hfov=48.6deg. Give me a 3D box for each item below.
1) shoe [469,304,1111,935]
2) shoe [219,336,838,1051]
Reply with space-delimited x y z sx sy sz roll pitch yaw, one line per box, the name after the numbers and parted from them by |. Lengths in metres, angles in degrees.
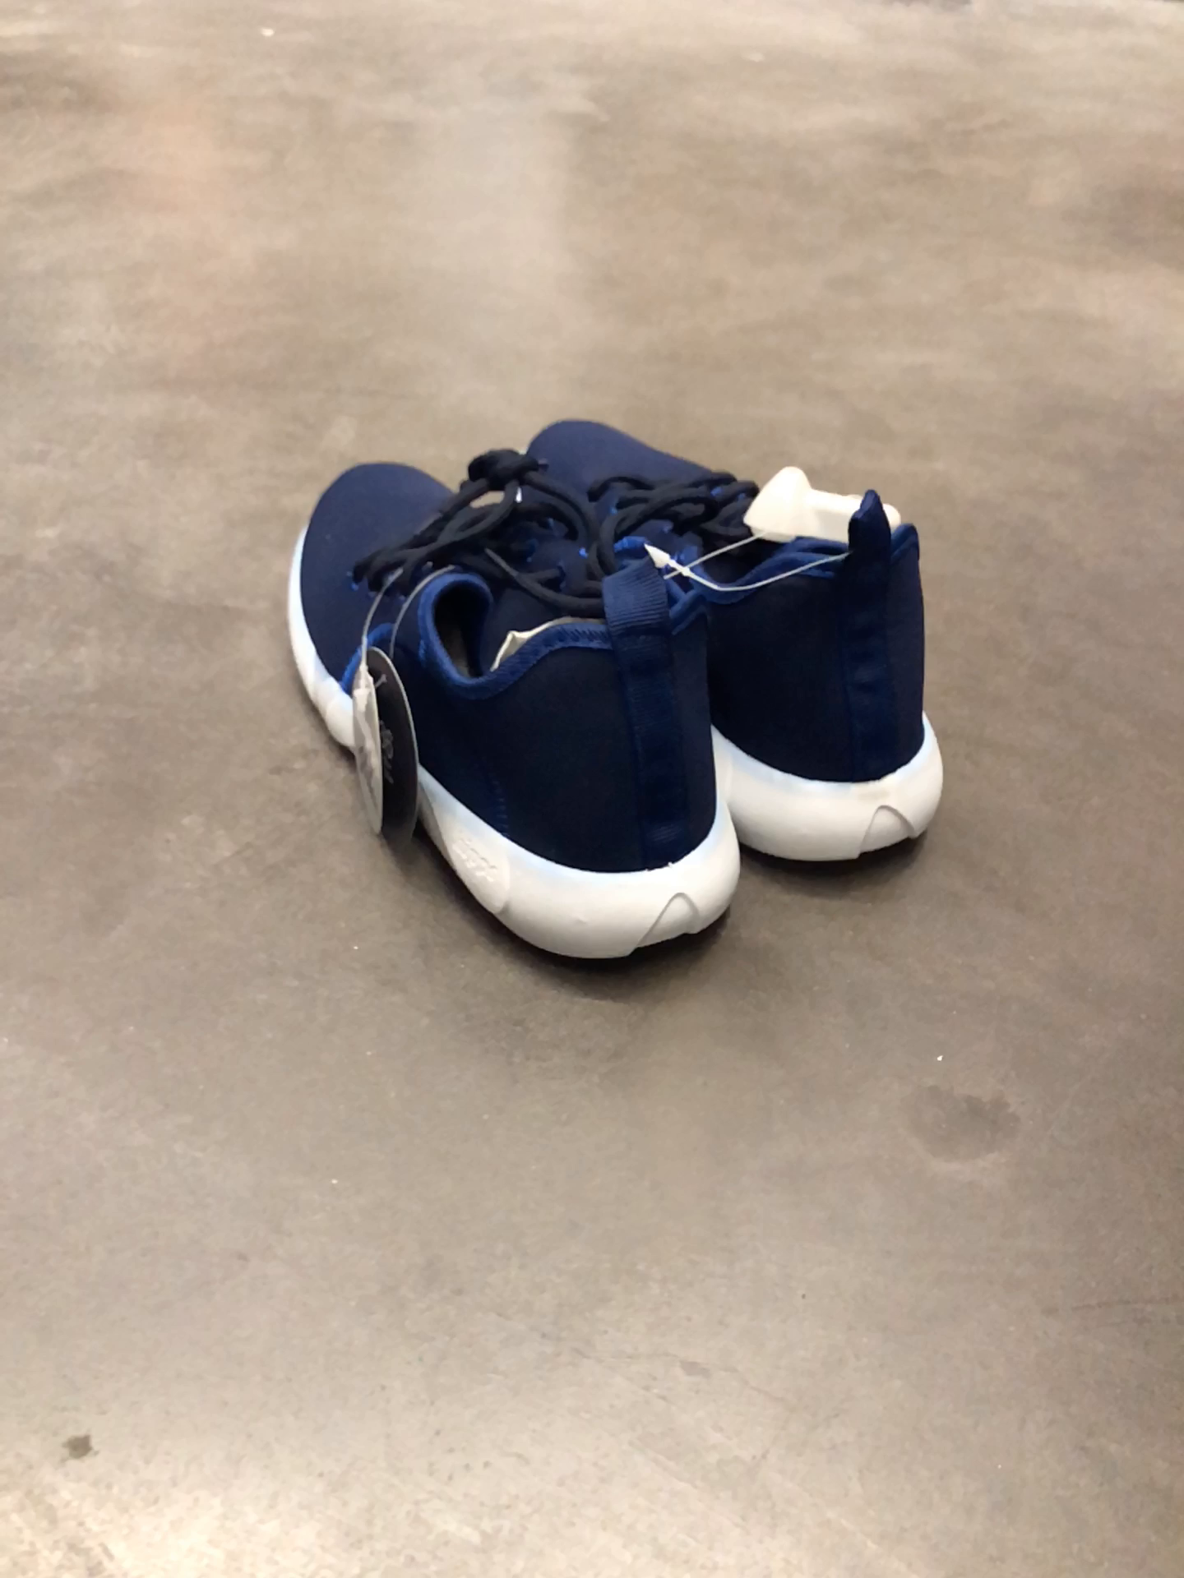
0.046 -0.075 0.450 0.090 0.089 0.241 -16 44 -22 | shoe
-0.036 -0.049 0.412 0.090 0.089 0.241 -16 44 -22 | shoe
